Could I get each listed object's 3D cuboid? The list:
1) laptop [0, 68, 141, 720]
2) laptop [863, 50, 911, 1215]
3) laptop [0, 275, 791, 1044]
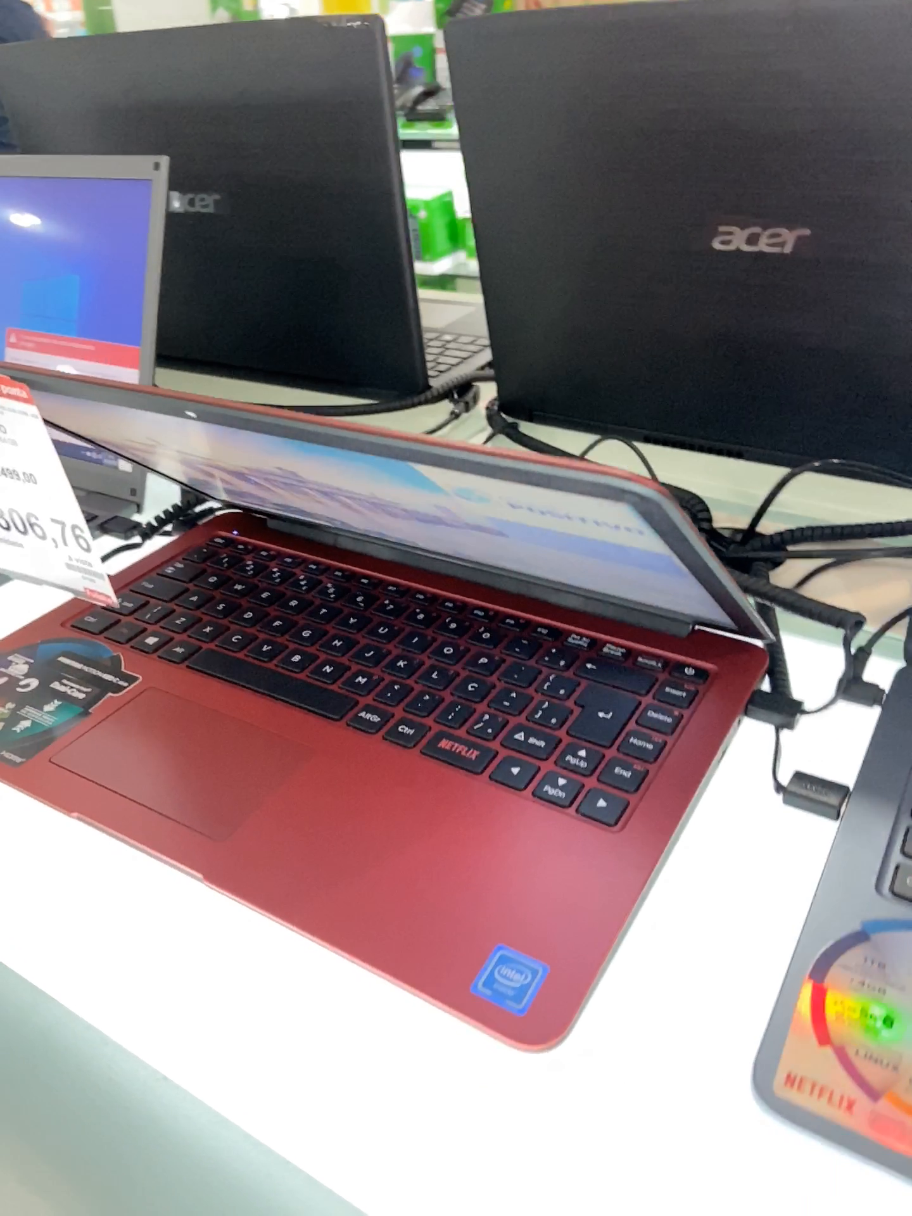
[{"bbox_3d":[-0.359,-0.158,0.529,0.234,0.159,0.287,18,38,14],"label":"laptop"},{"bbox_3d":[0.306,0.019,0.196,0.385,0.207,0.278,15,38,25],"label":"laptop"},{"bbox_3d":[-0.063,-0.028,0.378,0.320,0.144,0.213,15,36,29],"label":"laptop"}]
